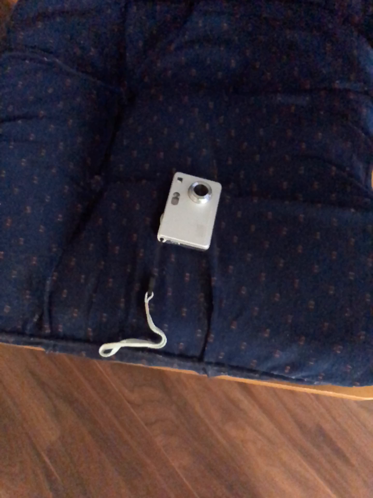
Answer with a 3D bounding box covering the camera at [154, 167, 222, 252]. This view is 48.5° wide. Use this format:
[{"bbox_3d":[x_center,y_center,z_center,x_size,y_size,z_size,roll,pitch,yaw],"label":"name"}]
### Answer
[{"bbox_3d":[0.002,-0.044,0.456,0.058,0.018,0.085,14,65,-1],"label":"camera"}]
